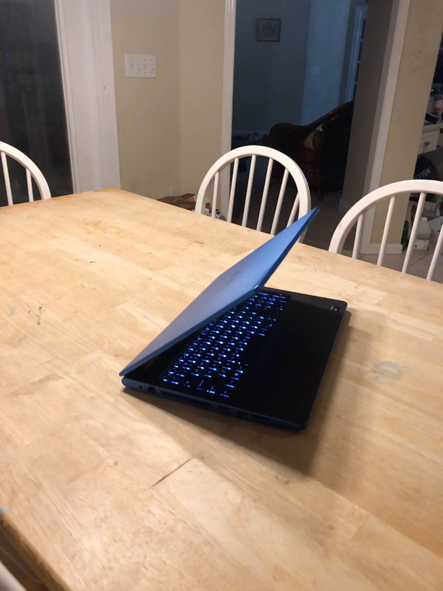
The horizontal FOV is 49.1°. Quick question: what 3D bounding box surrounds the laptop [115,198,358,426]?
[{"bbox_3d":[0.049,-0.011,0.732,0.248,0.160,0.363,11,27,17],"label":"laptop"}]
